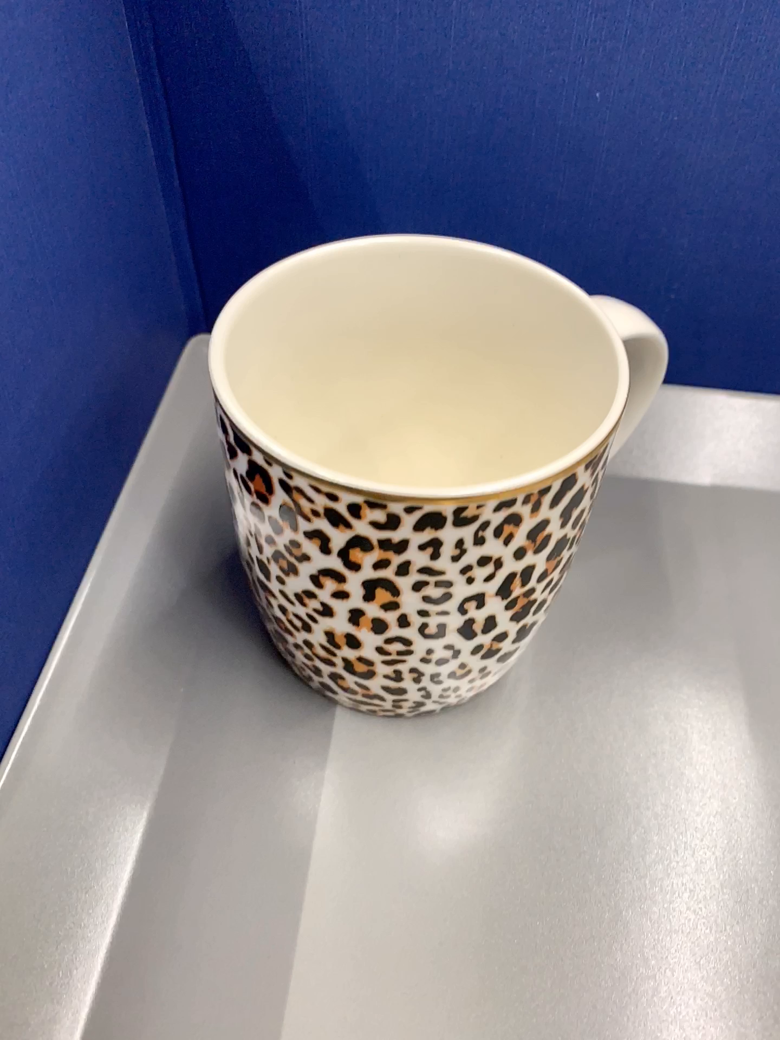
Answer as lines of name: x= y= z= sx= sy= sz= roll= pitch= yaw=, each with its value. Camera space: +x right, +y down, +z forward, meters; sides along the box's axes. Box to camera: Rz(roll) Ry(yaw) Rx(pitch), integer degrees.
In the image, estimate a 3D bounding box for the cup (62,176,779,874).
cup: x=0.009 y=-0.007 z=0.208 sx=0.126 sy=0.095 sz=0.099 roll=-27 pitch=53 yaw=-24
